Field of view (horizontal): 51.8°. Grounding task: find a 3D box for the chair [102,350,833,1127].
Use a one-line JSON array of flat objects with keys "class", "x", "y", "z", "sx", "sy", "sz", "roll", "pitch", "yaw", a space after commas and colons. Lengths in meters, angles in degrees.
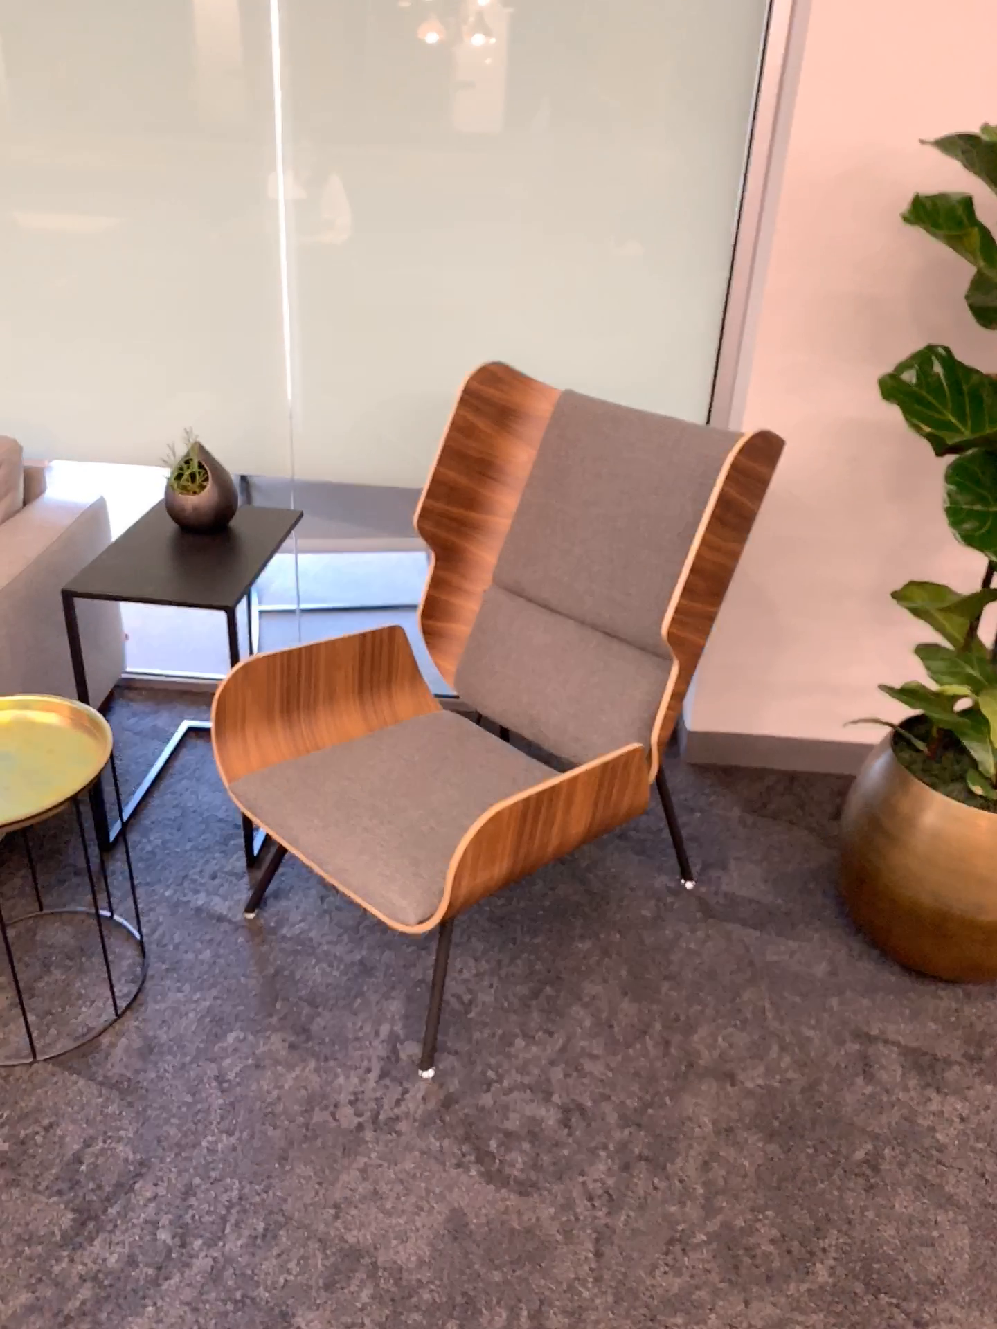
[{"class": "chair", "x": -0.061, "y": 0.019, "z": 2.028, "sx": 0.883, "sy": 0.994, "sz": 0.932, "roll": 26, "pitch": 35, "yaw": 36}]
